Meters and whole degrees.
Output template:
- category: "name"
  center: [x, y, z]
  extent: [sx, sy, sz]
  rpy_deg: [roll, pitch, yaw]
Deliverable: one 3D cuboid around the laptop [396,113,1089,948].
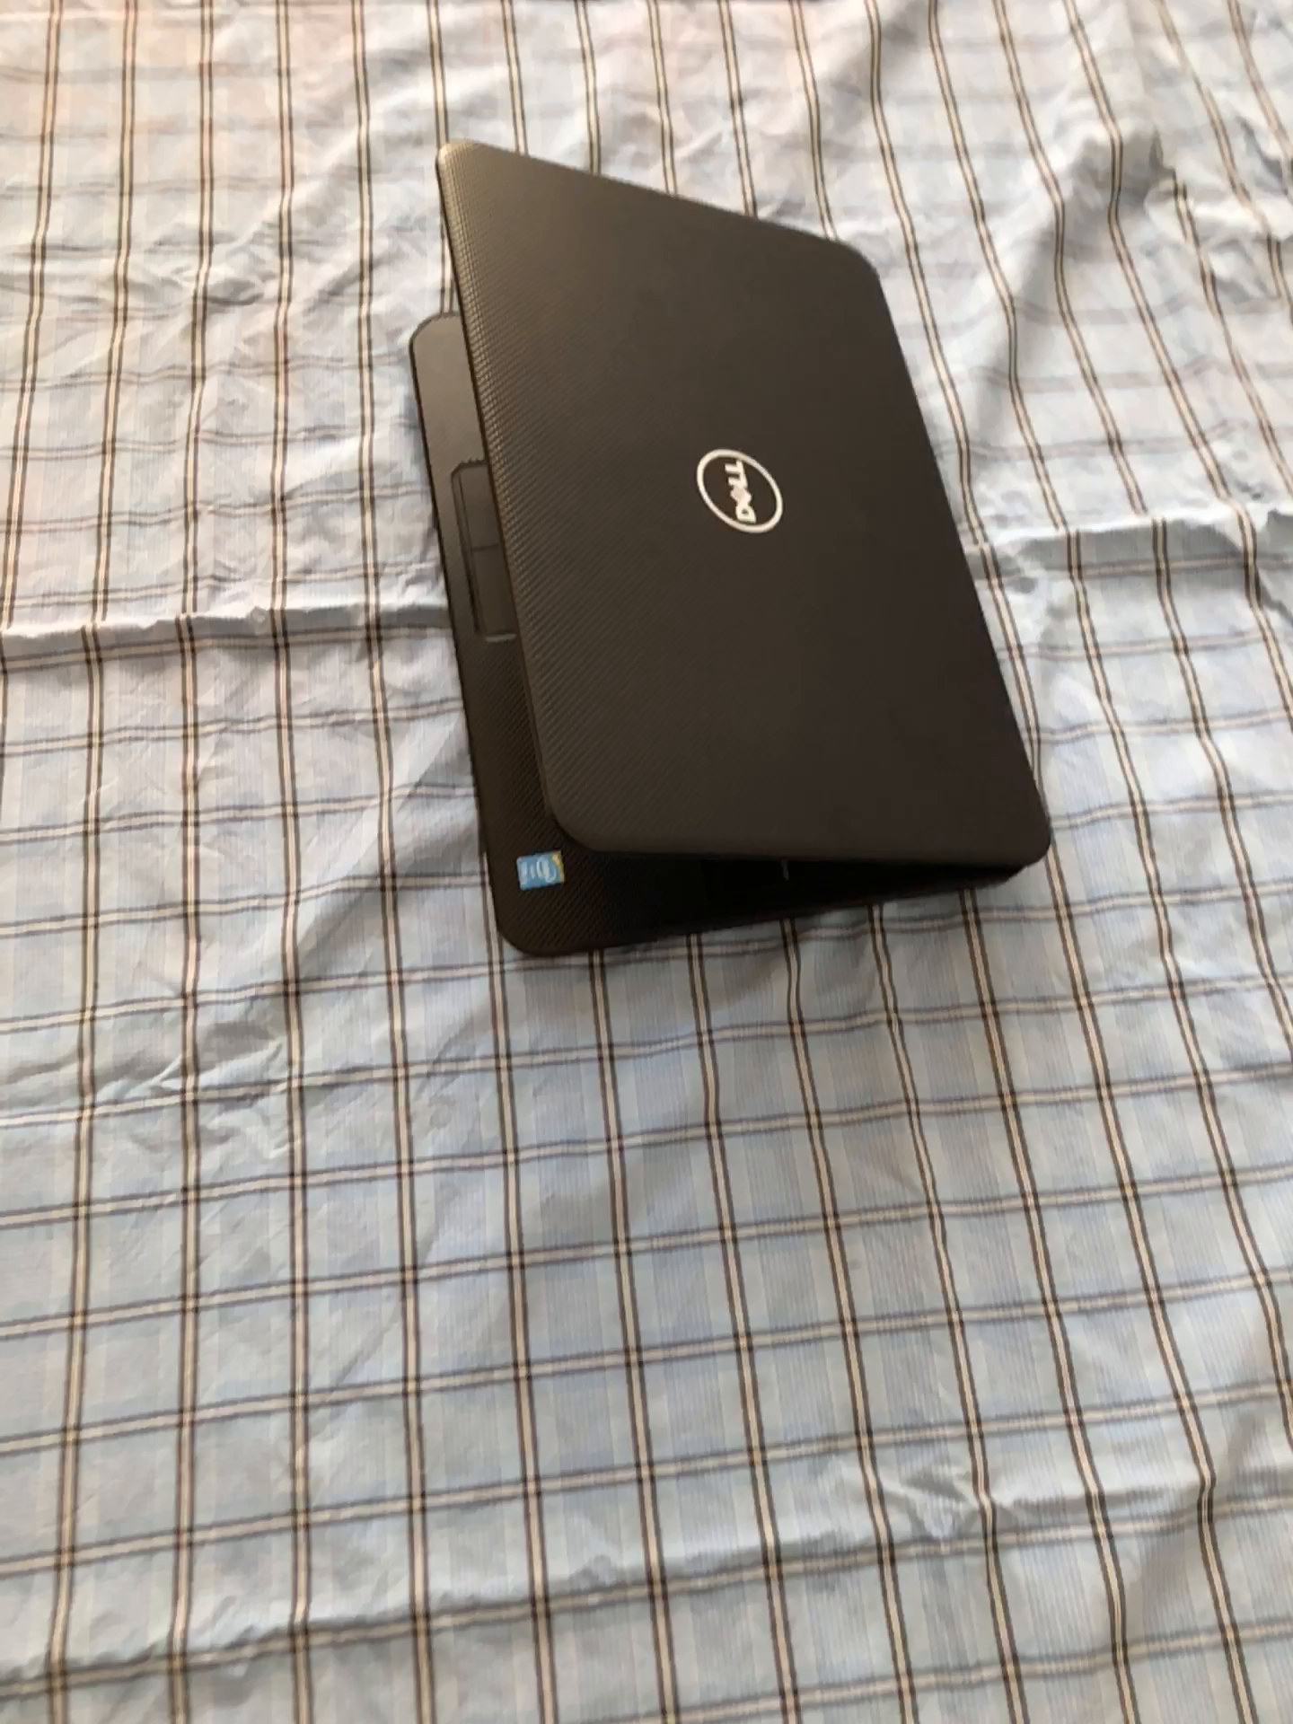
- category: "laptop"
  center: [0.025, -0.158, 0.649]
  extent: [0.223, 0.099, 0.351]
  rpy_deg: [-9, 69, -4]
